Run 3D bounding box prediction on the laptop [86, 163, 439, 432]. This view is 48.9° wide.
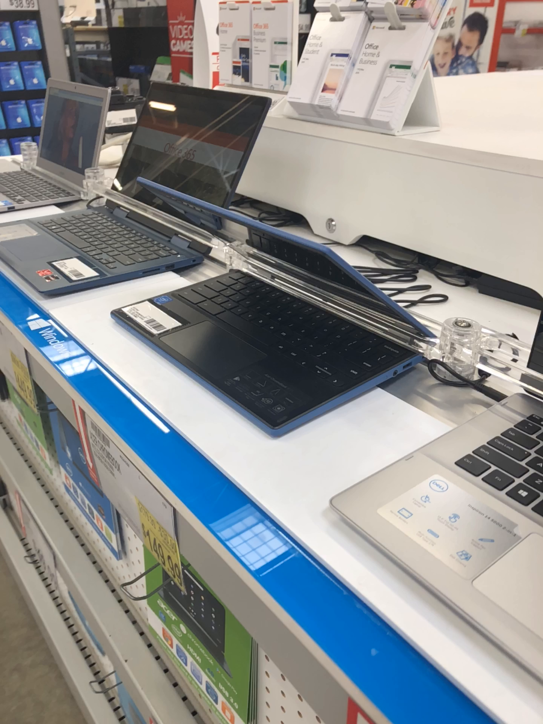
[{"bbox_3d":[-0.021,-0.087,0.573,0.184,0.128,0.280,-23,37,-33],"label":"laptop"}]

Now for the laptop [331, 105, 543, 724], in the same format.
[{"bbox_3d":[0.239,0.031,0.267,0.246,0.216,0.356,-22,35,-31],"label":"laptop"}]
